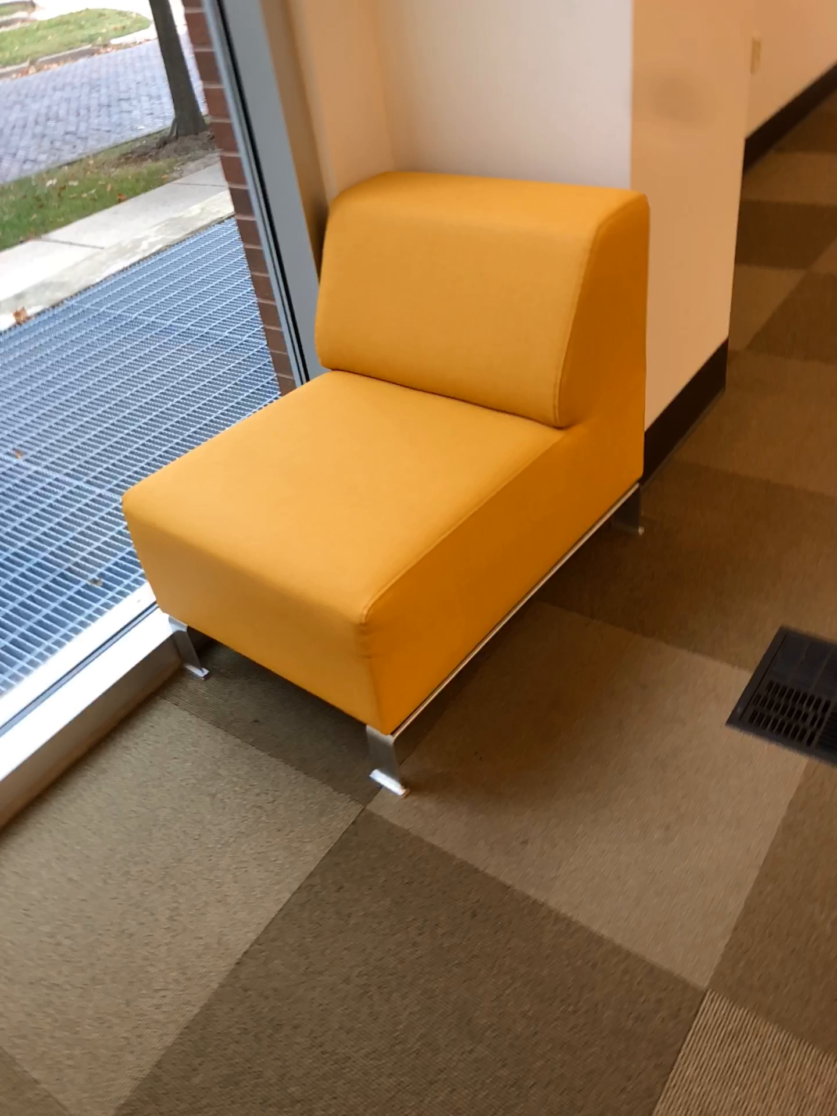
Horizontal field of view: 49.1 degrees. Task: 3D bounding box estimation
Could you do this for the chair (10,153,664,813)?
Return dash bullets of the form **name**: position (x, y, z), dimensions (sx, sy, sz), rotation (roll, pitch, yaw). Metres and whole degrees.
- **chair**: position (-0.058, -0.213, 1.720), dimensions (0.663, 0.759, 0.874), rotation (21, 47, 34)
